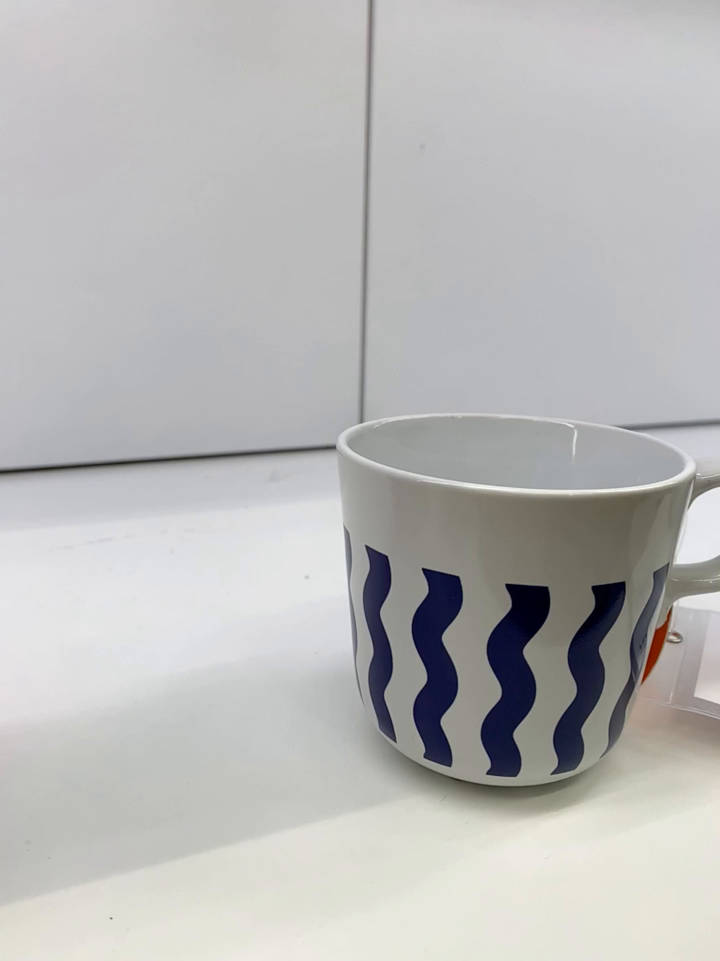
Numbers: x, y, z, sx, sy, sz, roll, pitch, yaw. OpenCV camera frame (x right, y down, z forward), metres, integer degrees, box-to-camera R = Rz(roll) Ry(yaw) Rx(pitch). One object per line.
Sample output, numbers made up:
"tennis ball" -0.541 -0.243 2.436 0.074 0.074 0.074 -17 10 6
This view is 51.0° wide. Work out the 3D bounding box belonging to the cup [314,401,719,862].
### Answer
"cup" 0.049 0.024 0.187 0.101 0.071 0.076 -5 16 -22
